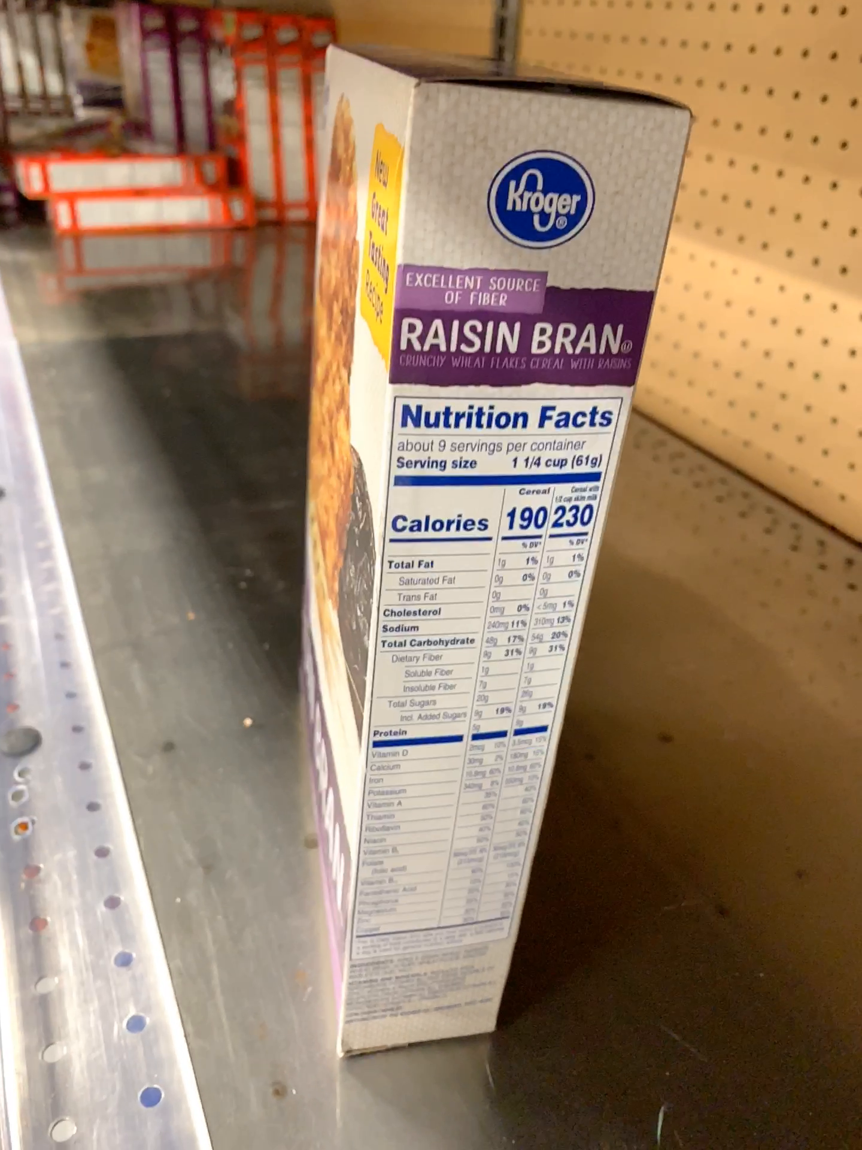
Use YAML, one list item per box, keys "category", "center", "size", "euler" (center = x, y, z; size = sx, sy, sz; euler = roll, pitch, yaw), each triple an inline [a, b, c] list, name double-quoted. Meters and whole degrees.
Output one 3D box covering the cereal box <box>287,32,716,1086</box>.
- category: "cereal box"
  center: [-0.011, -0.012, 0.288]
  size: [0.050, 0.269, 0.191]
  euler: [-2, 32, -13]
